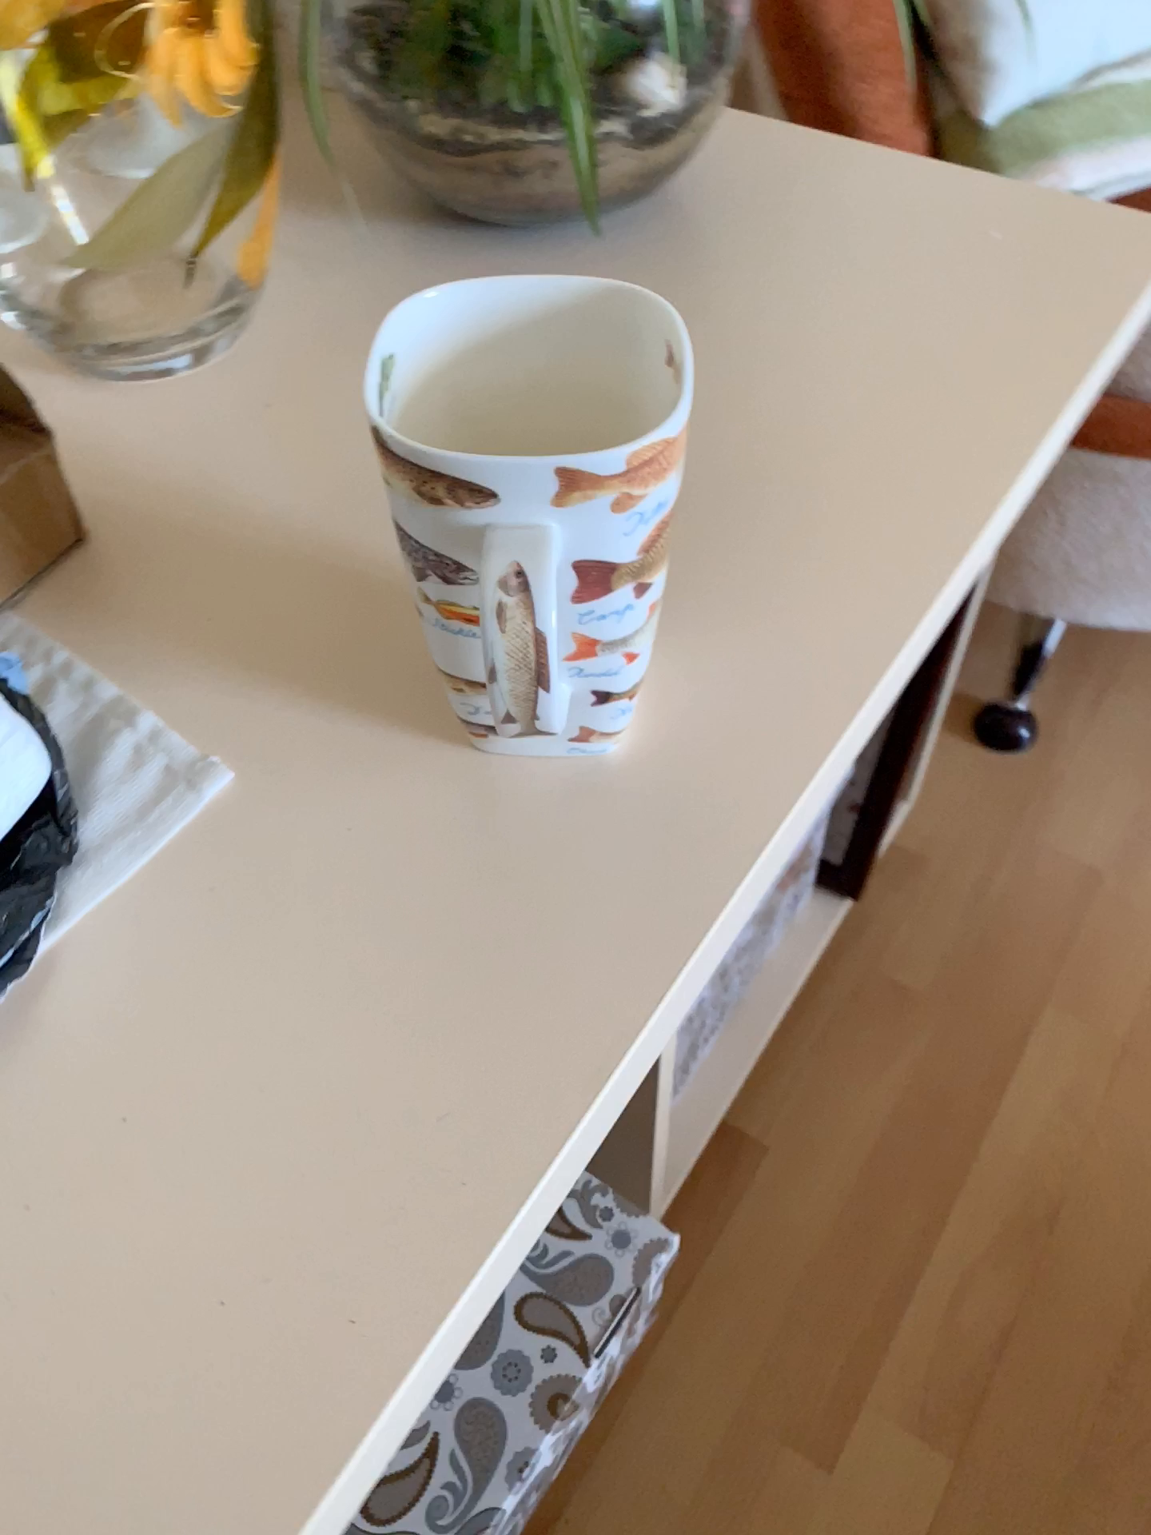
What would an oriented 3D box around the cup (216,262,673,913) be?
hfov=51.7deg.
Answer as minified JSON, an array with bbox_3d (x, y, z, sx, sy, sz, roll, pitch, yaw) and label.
[{"bbox_3d":[-0.024,-0.053,0.354,0.100,0.129,0.141,2,50,3],"label":"cup"}]
